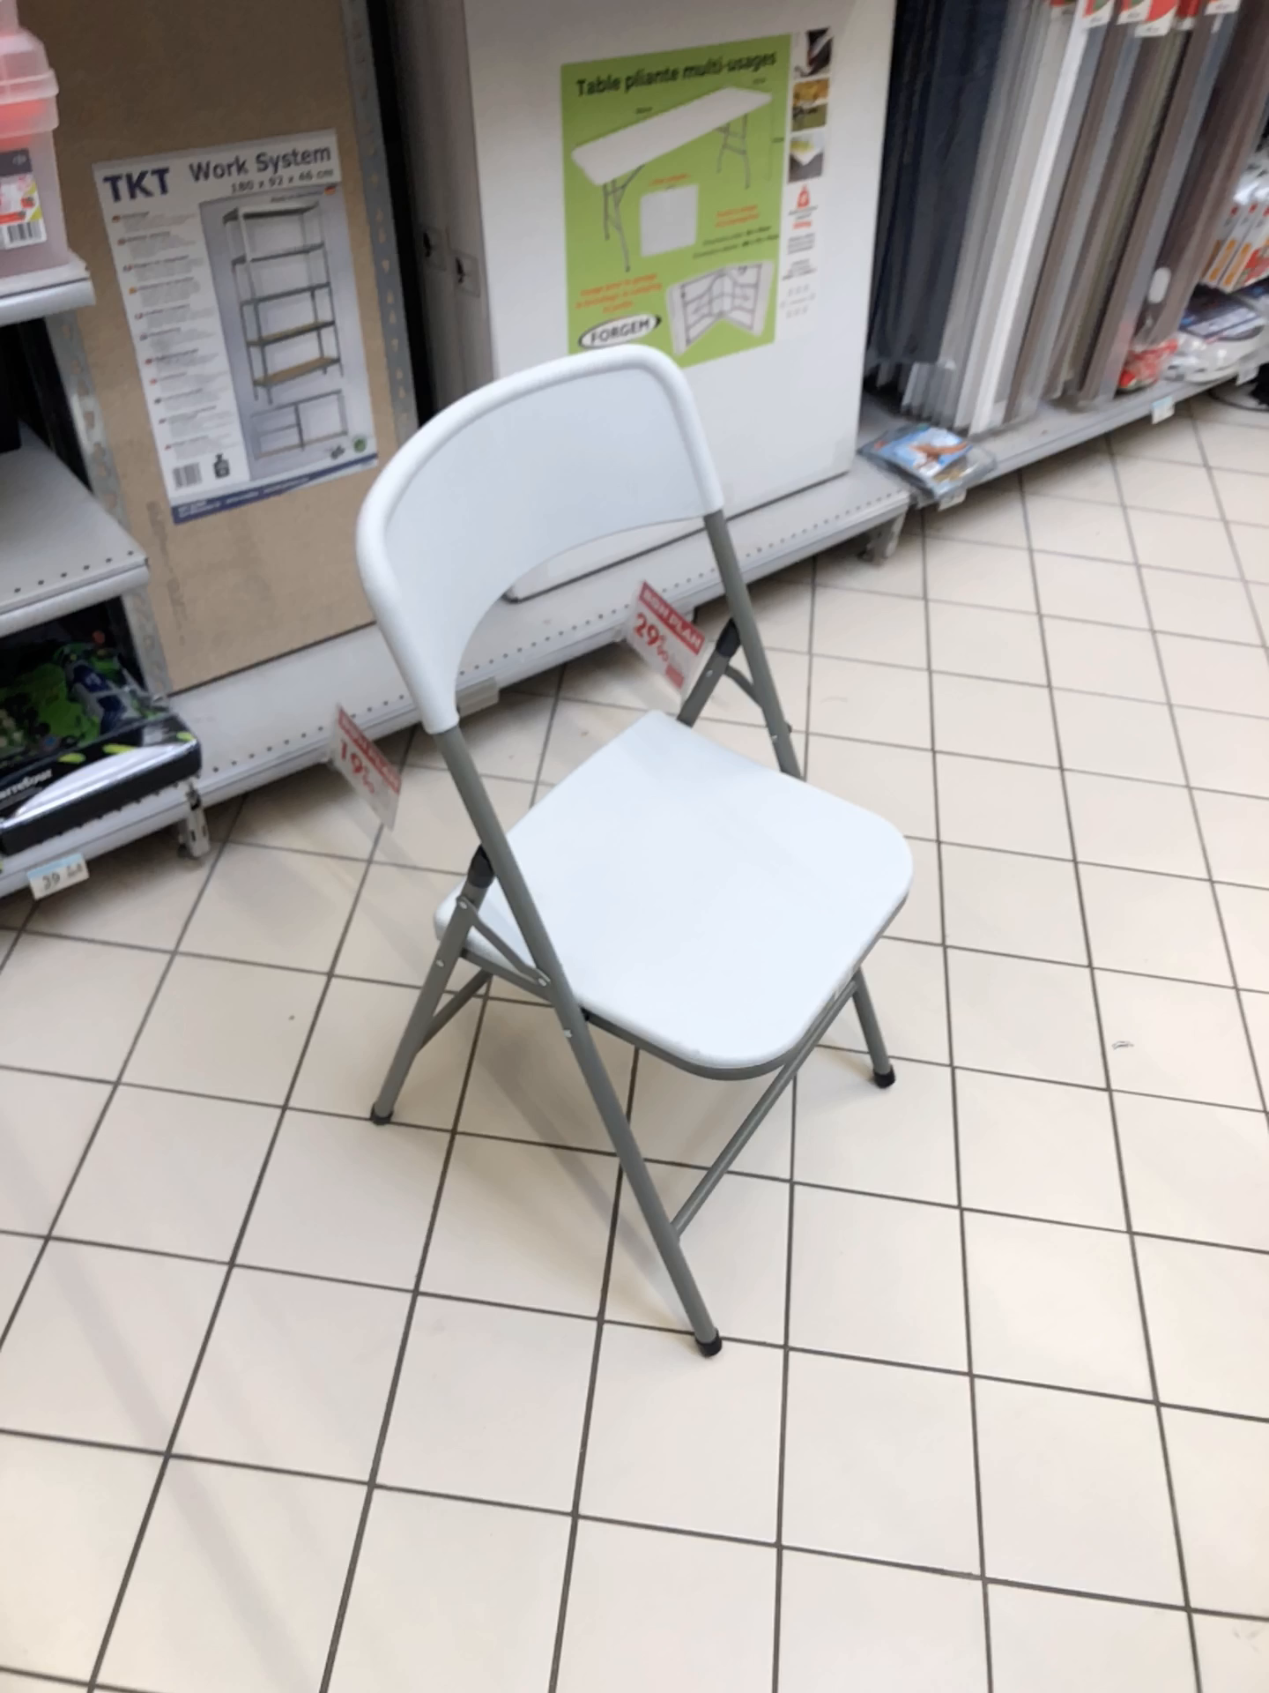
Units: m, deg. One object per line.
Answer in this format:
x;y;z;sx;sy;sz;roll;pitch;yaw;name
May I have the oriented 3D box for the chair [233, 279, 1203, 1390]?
0.058;-0.008;1.349;0.560;0.745;0.543;28;49;19;chair
